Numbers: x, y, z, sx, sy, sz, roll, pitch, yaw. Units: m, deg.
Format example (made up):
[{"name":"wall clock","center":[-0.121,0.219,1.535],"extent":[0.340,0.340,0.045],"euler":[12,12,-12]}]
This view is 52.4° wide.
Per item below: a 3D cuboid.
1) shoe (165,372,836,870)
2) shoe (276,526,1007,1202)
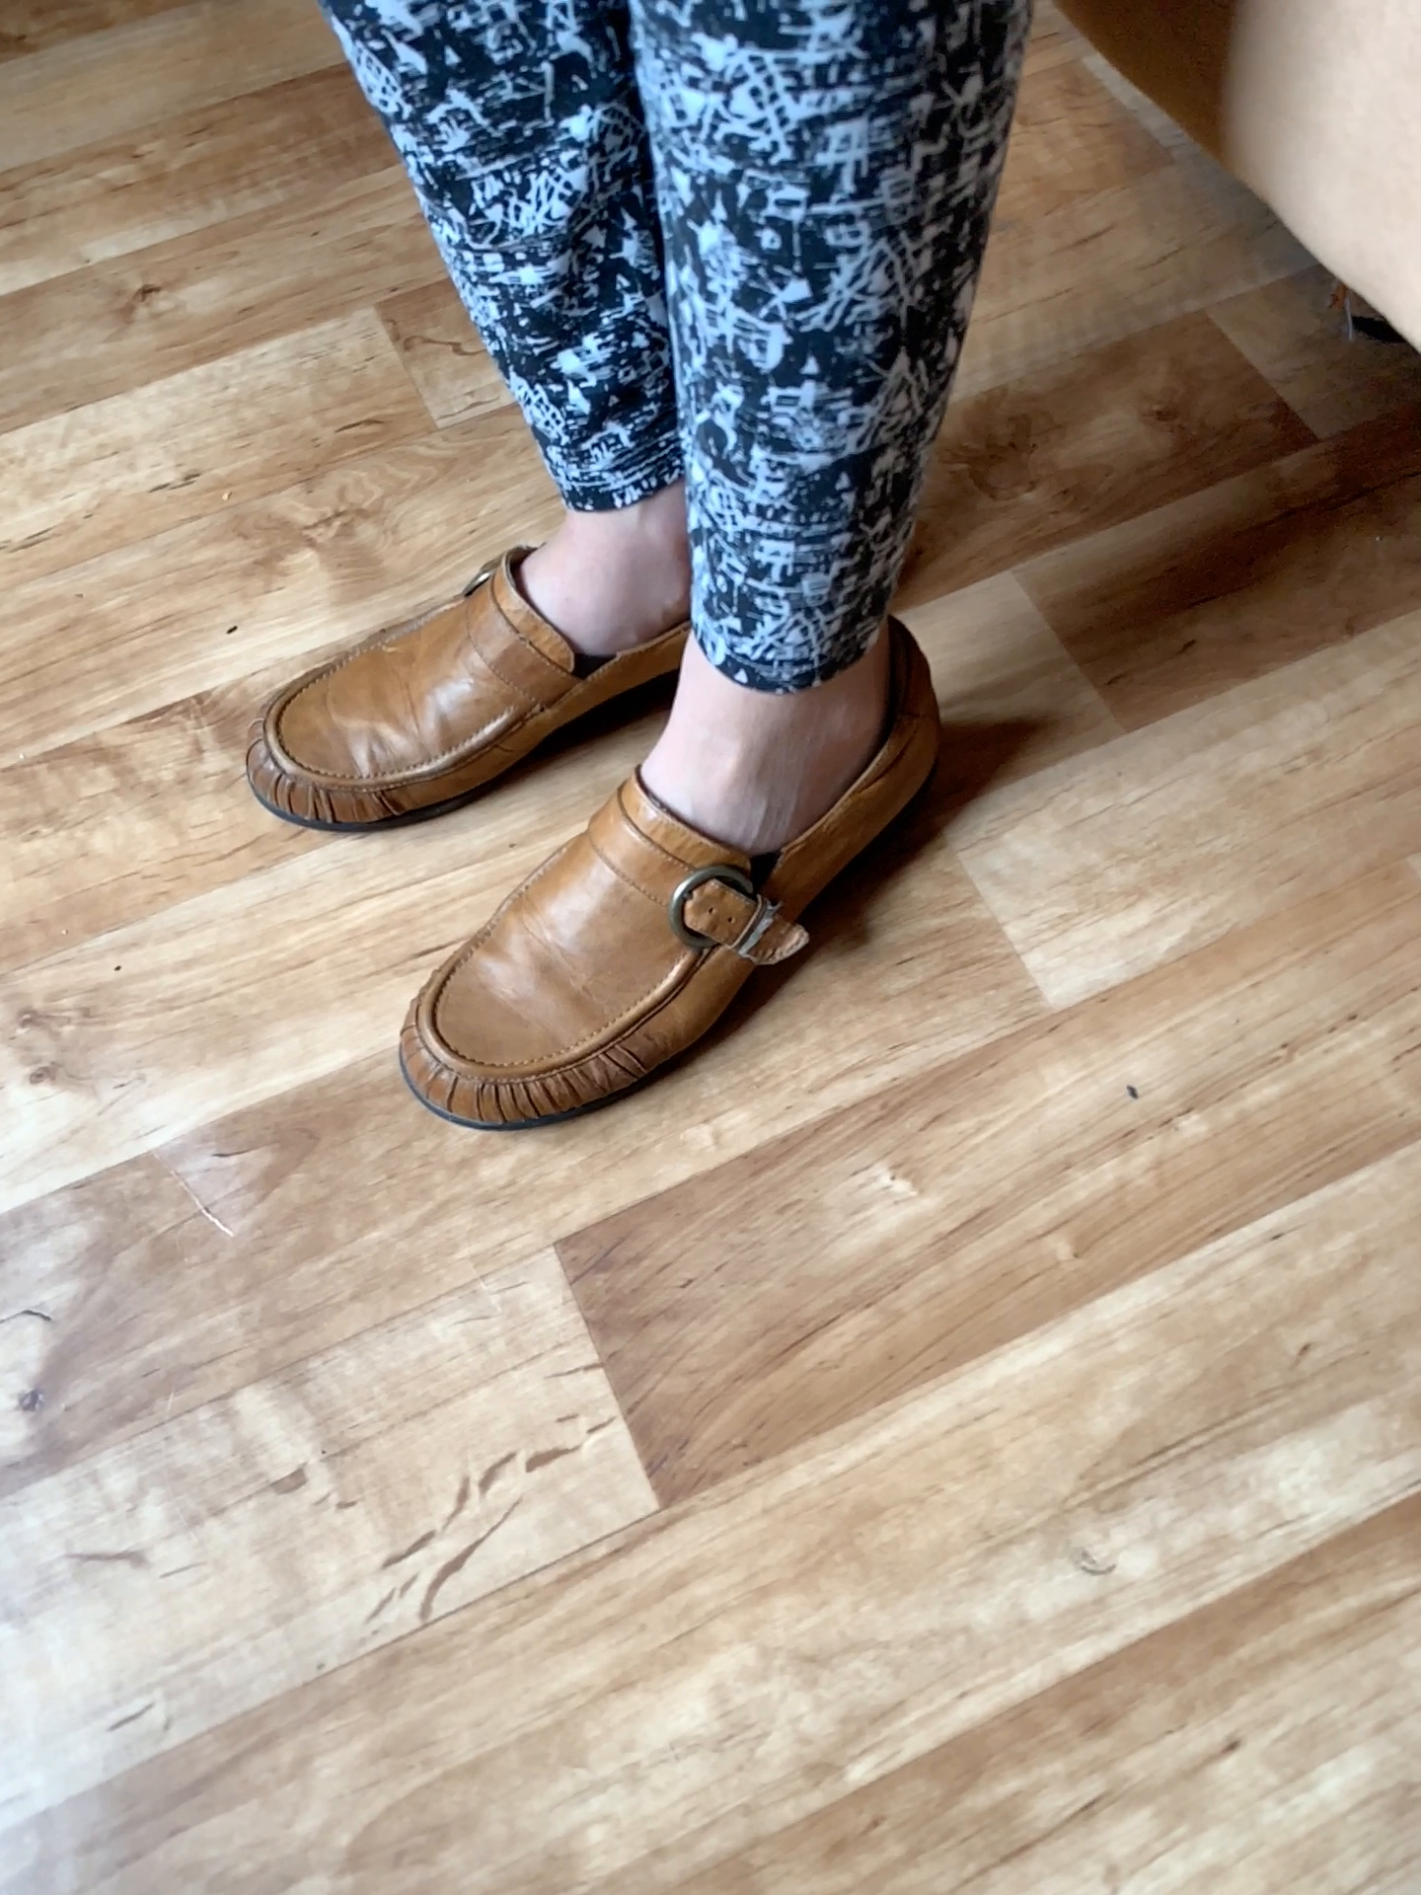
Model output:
[{"name":"shoe","center":[-0.064,-0.105,0.469],"extent":[0.190,0.070,0.081],"euler":[-19,63,-6]},{"name":"shoe","center":[-0.014,-0.026,0.421],"extent":[0.190,0.070,0.080],"euler":[-38,67,-15]}]
